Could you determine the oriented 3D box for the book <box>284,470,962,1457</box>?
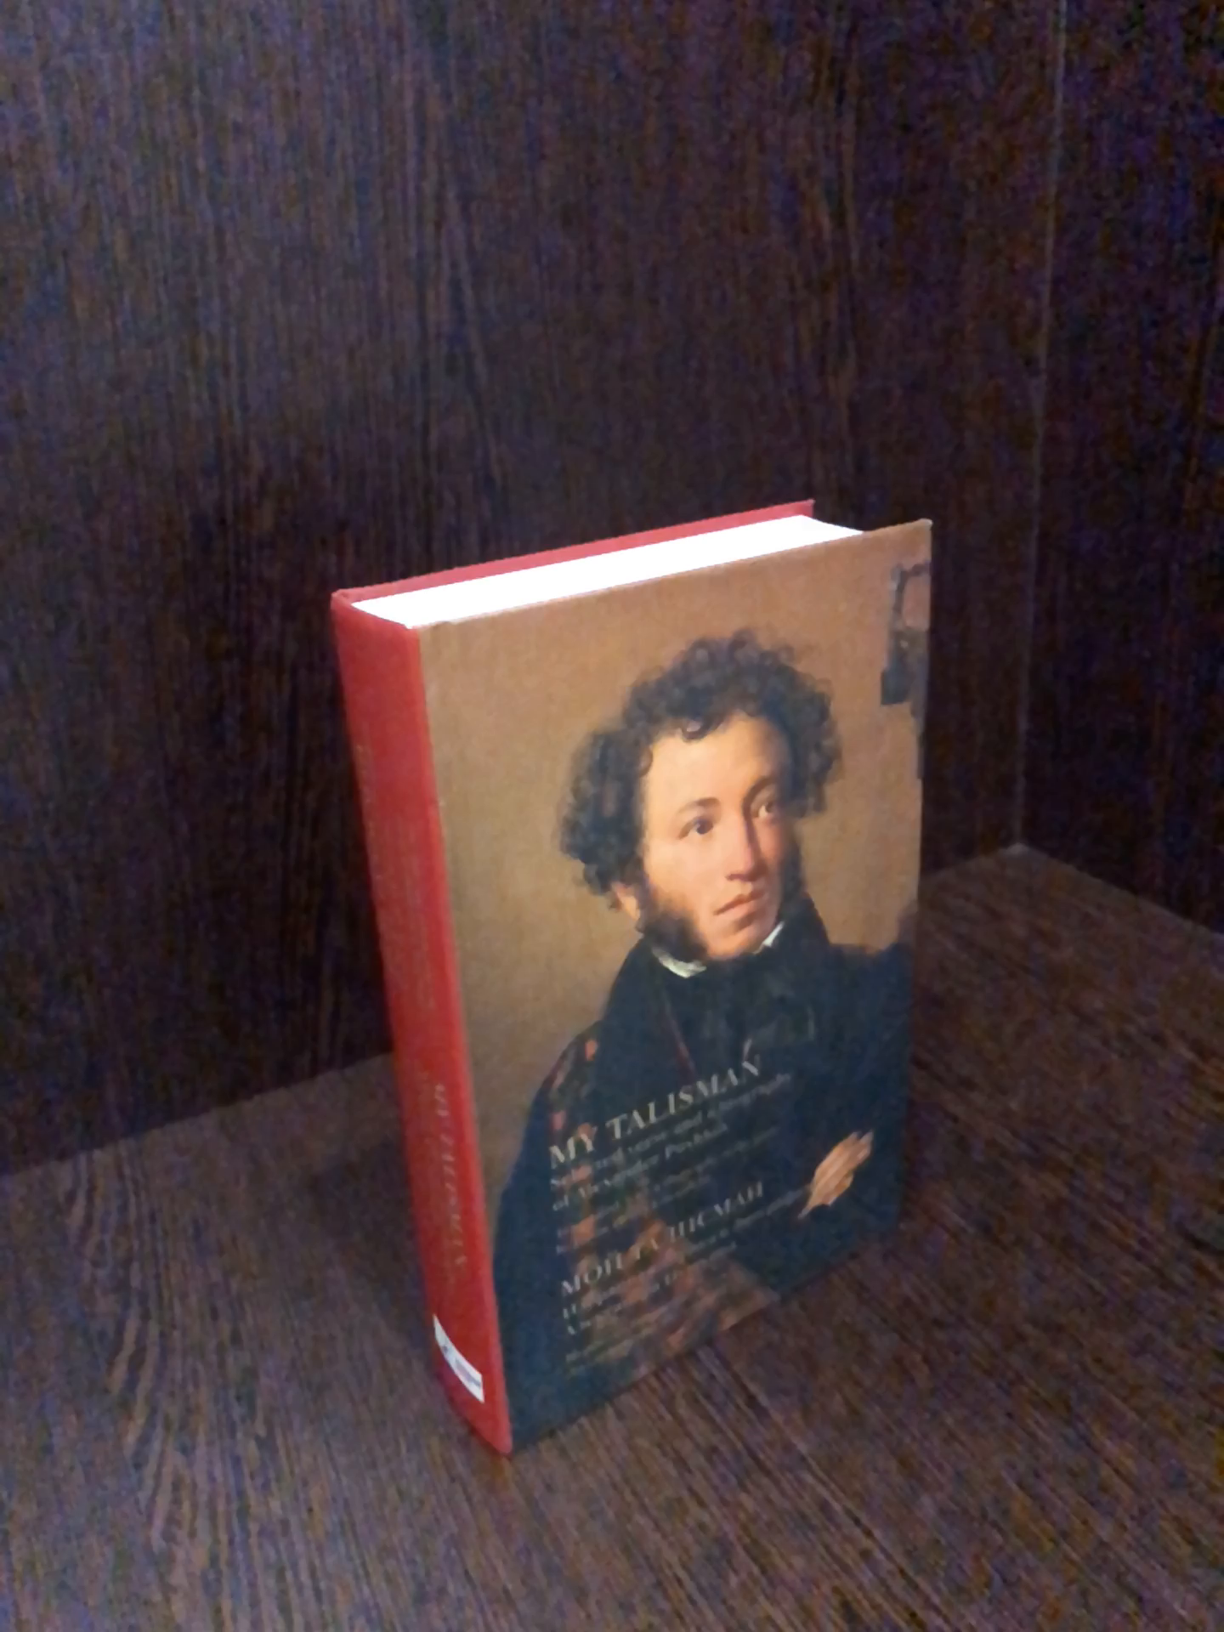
[{"bbox_3d":[0.009,0.031,0.331,0.137,0.201,0.054,-17,28,-29],"label":"book"}]
